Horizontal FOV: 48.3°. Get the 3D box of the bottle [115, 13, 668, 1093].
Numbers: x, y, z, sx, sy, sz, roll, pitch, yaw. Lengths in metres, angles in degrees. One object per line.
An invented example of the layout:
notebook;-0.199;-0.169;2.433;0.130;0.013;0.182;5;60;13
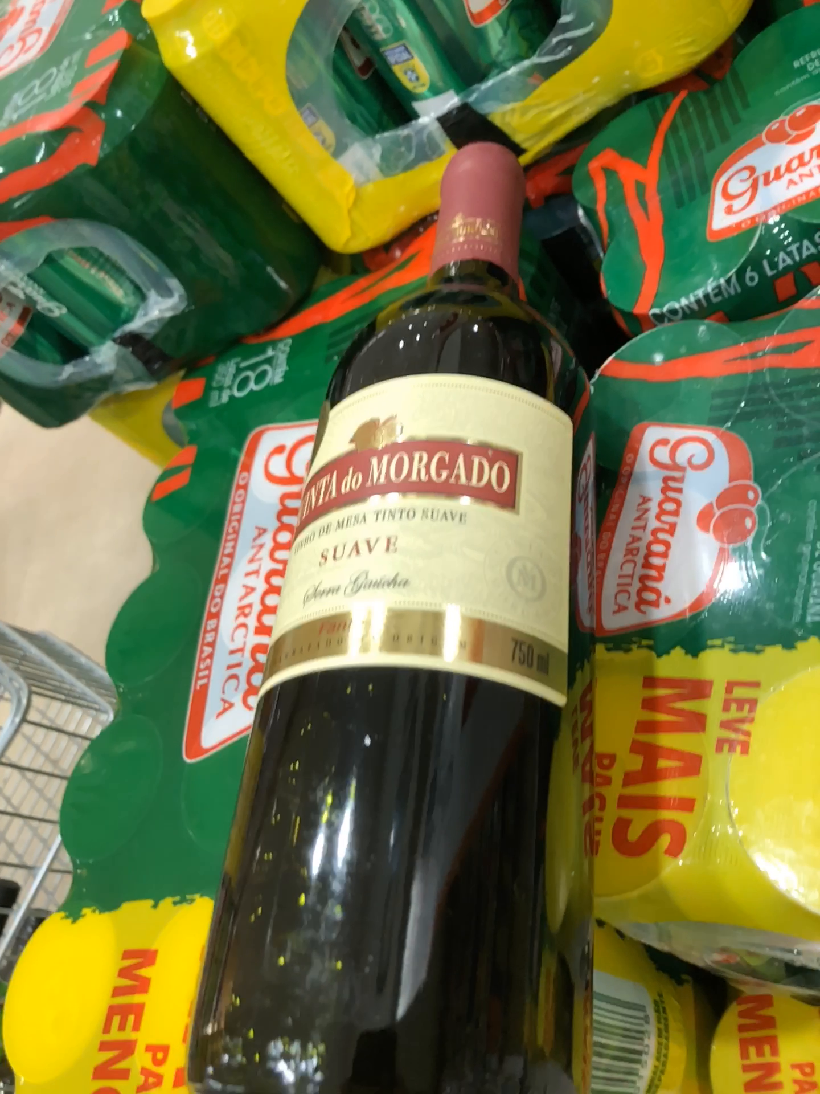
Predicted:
bottle;0.012;-0.011;0.229;0.080;0.070;0.271;-5;59;18
